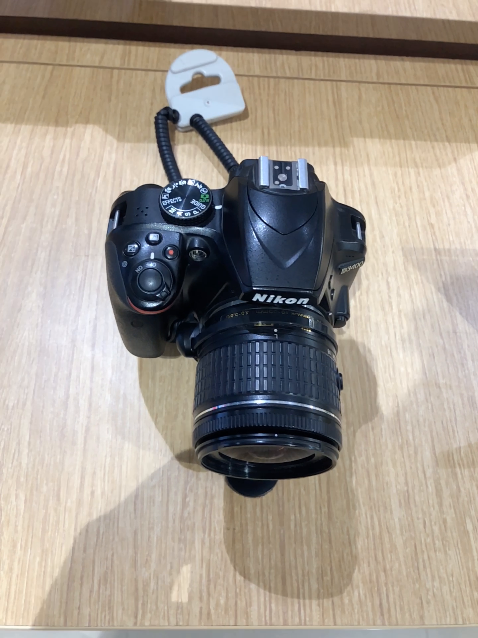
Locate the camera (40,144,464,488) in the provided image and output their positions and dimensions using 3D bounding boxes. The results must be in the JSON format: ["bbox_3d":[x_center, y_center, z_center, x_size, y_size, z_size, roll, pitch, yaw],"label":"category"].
[{"bbox_3d":[0.003,0.002,0.232,0.133,0.084,0.120,2,61,-3],"label":"camera"}]
